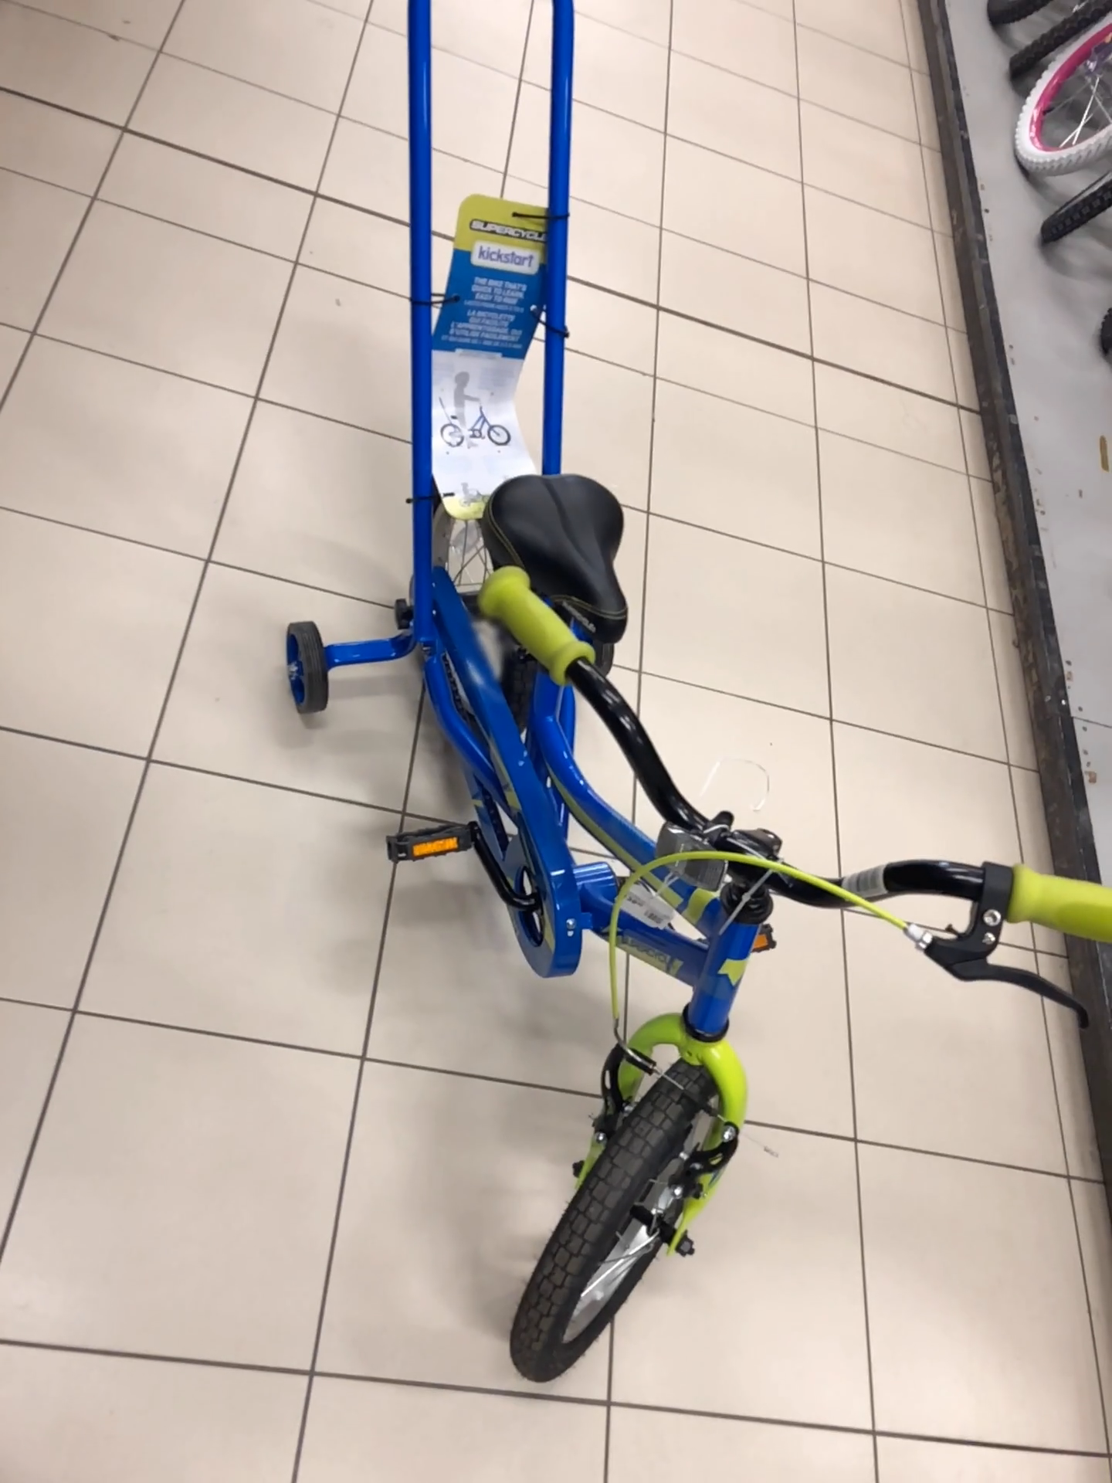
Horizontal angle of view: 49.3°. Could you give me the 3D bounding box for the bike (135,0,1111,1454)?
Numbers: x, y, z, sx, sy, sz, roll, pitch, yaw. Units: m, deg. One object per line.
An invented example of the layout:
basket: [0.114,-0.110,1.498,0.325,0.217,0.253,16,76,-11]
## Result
bike: [-0.044,-0.006,1.067,0.539,0.764,0.955,2,59,-20]
